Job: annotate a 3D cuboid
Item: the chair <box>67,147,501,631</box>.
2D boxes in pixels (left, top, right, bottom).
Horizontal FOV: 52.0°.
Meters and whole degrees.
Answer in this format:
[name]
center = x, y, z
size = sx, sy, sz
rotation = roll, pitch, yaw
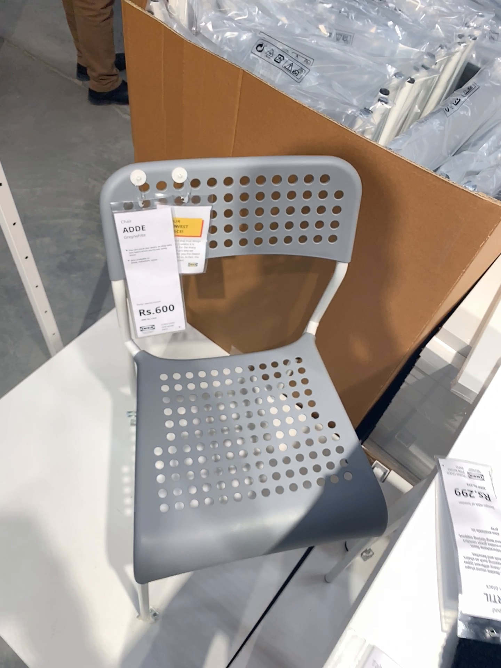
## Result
[chair]
center = -0.007, 0.143, 0.867
size = 0.460, 0.689, 0.501
rotation = -6, 57, -12
